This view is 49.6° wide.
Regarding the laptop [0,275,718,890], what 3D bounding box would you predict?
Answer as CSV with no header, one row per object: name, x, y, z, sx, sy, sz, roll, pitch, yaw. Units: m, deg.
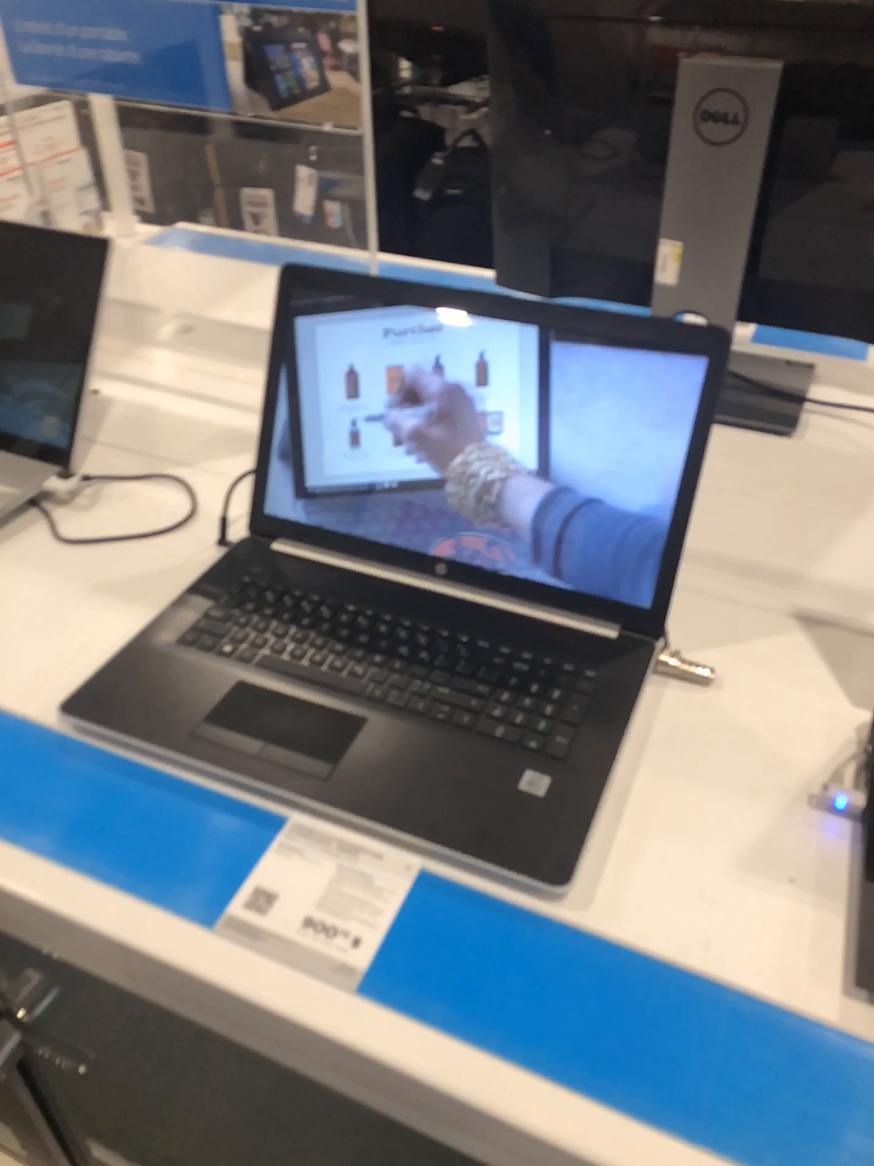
laptop,-0.035,-0.048,0.751,0.411,0.242,0.381,14,37,19
